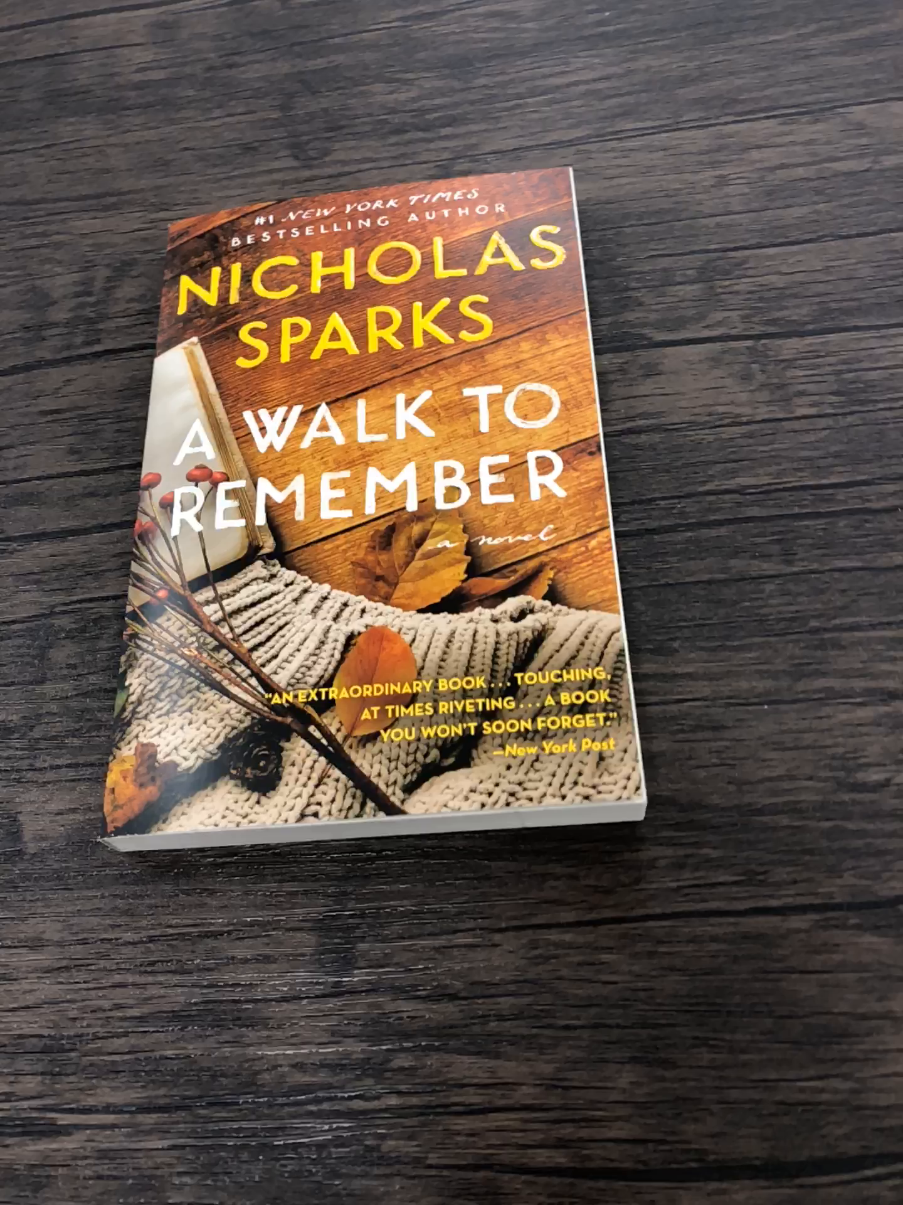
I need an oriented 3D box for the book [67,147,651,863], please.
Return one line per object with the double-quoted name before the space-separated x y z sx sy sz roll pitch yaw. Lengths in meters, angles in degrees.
"book" -0.025 -0.036 0.274 0.132 0.020 0.200 -5 65 6
